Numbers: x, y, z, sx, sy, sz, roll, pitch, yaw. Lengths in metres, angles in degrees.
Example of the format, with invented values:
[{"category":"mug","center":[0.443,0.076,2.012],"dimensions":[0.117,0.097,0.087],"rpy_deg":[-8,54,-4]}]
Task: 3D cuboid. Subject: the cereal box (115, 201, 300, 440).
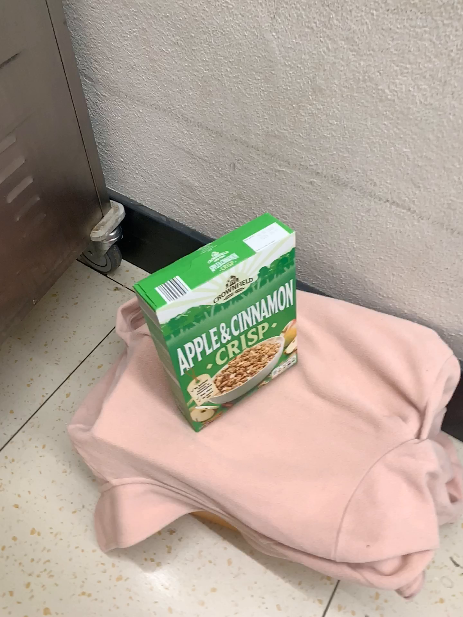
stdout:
[{"category":"cereal box","center":[-0.011,0.026,0.582],"dimensions":[0.191,0.258,0.060],"rpy_deg":[-31,52,-20]}]
